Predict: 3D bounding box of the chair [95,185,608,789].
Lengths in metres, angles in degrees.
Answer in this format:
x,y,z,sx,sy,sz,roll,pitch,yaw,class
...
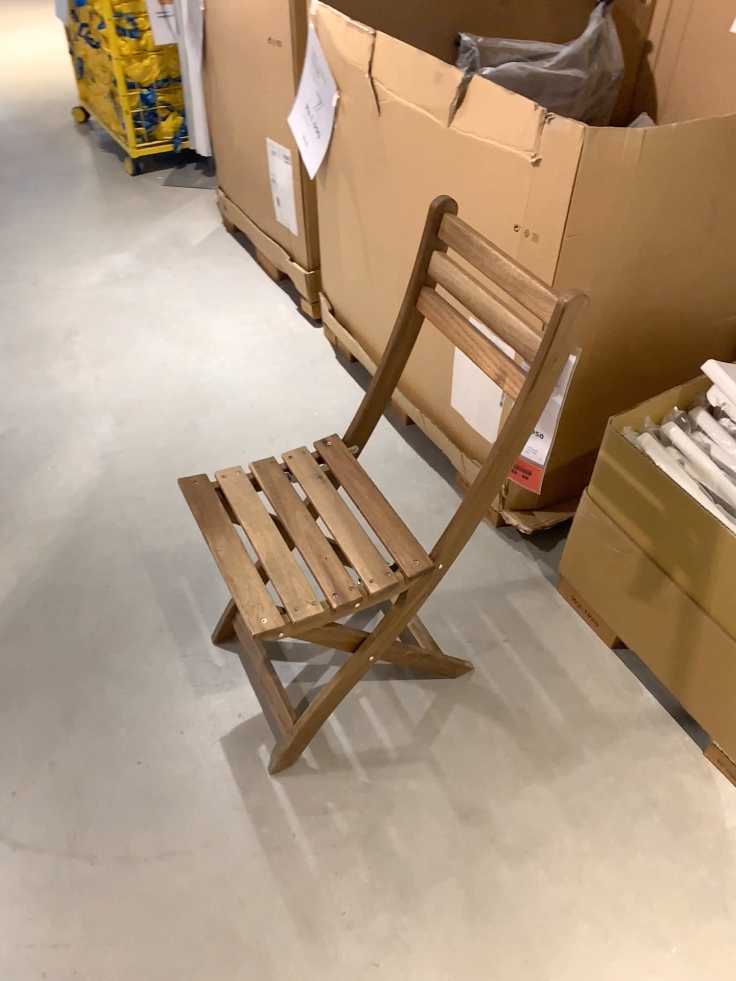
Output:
x,y,z,sx,sy,sz,roll,pitch,yaw,class
-0.043,0.013,1.191,0.510,0.767,0.401,-19,47,-21,chair
